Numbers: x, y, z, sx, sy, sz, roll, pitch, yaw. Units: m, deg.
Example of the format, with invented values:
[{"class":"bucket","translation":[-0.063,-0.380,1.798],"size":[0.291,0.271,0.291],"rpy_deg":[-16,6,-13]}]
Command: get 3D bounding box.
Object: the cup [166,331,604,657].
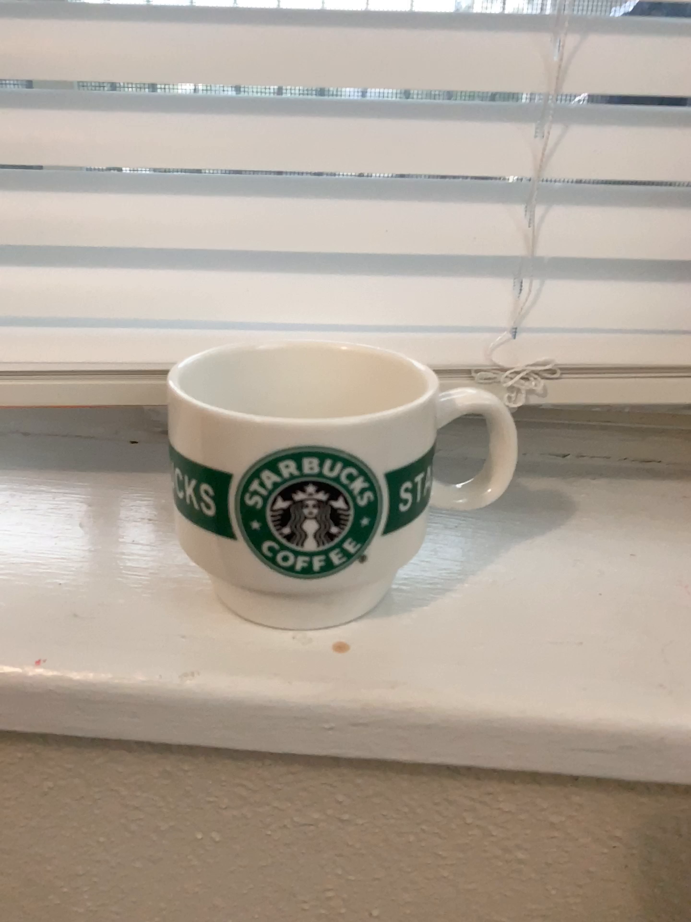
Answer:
[{"class":"cup","translation":[0.004,0.002,0.202],"size":[0.100,0.060,0.070],"rpy_deg":[-4,24,-15]}]
